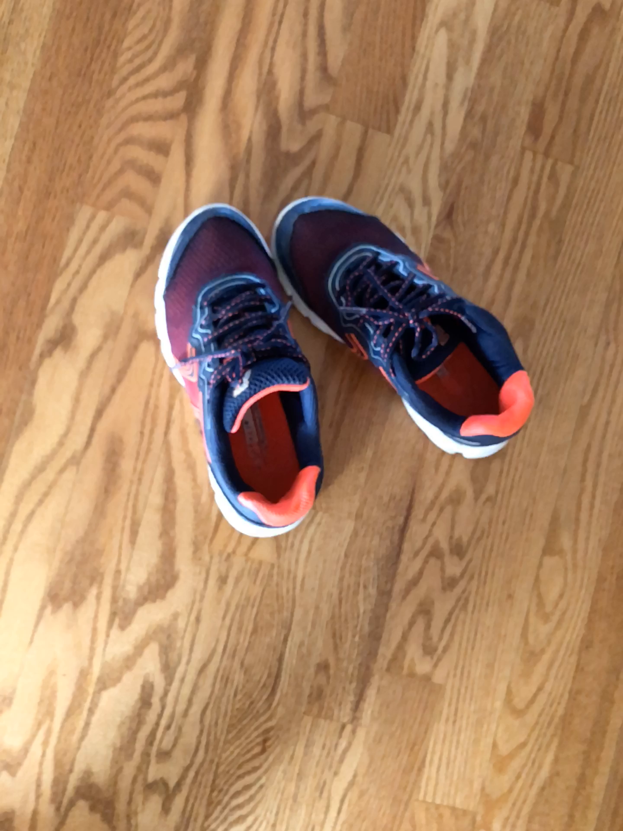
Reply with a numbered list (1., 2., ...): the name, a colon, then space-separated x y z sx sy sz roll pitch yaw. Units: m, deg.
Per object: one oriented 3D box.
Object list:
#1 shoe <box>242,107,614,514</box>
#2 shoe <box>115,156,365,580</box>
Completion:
1. shoe: 0.082 -0.072 0.543 0.116 0.110 0.277 -41 95 -7
2. shoe: -0.054 -0.033 0.522 0.108 0.110 0.270 -14 91 -8
